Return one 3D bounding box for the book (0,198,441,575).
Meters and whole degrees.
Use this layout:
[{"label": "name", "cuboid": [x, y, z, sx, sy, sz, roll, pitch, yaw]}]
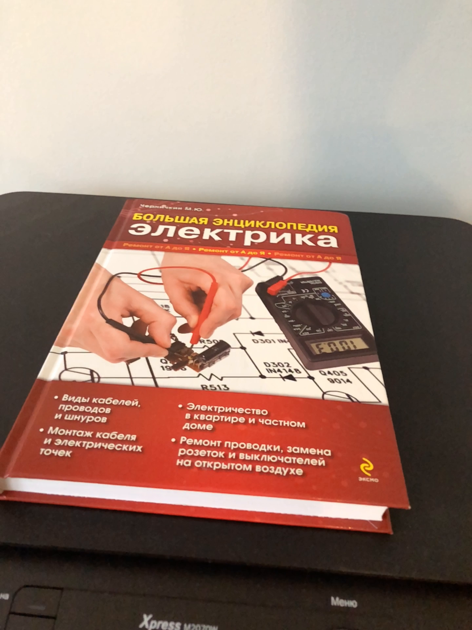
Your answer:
[{"label": "book", "cuboid": [-0.001, 0.011, 0.302, 0.170, 0.040, 0.242, 4, 39, 2]}]
